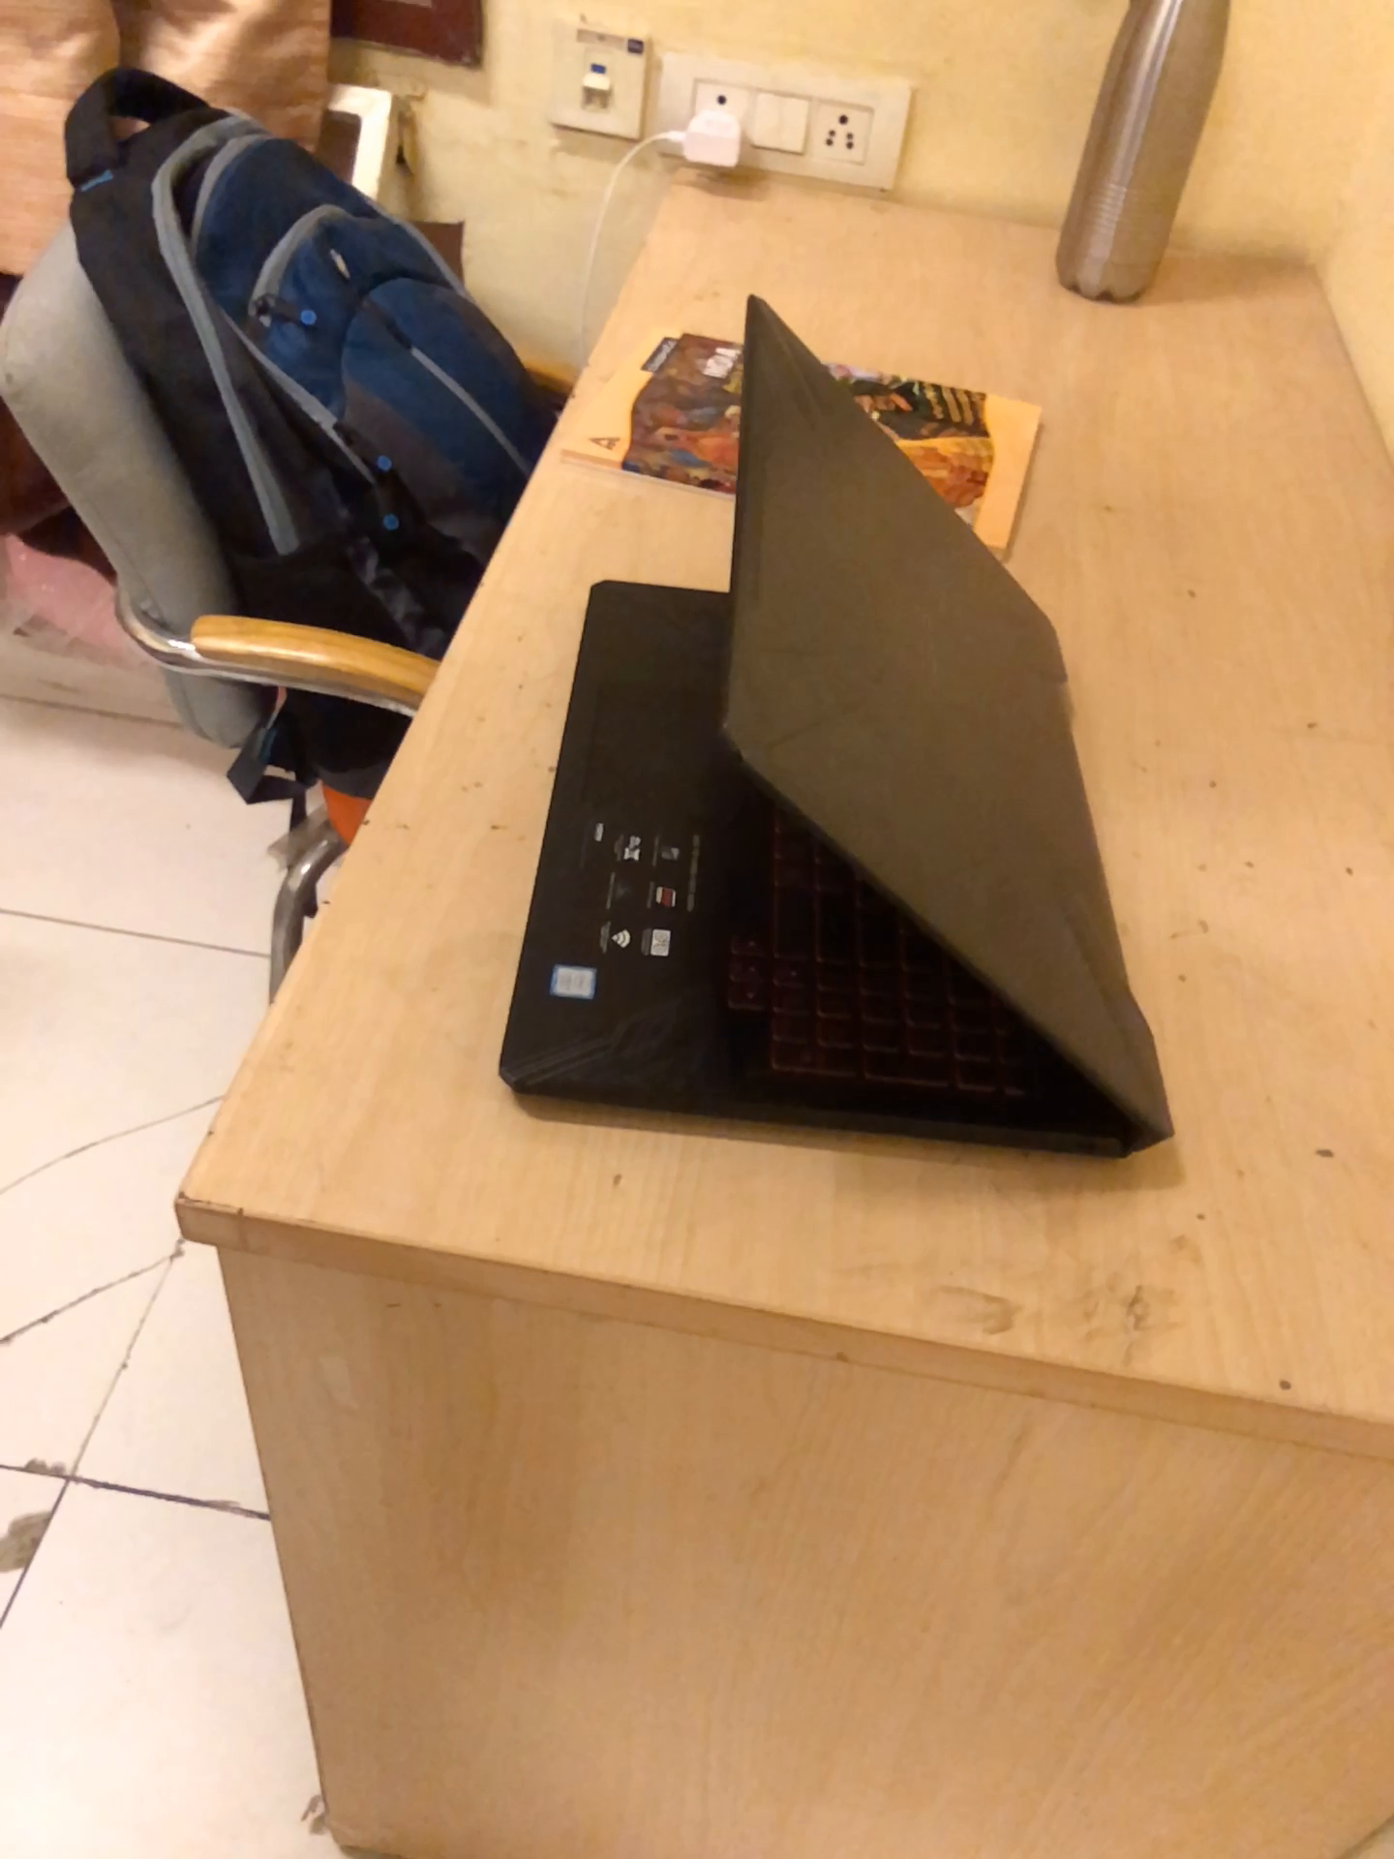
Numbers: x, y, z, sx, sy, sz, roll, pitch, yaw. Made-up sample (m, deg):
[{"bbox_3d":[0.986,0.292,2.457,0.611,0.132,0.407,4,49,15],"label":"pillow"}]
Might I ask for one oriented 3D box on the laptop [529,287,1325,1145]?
[{"bbox_3d":[0.078,-0.116,0.685,0.252,0.173,0.372,7,42,-2],"label":"laptop"}]
